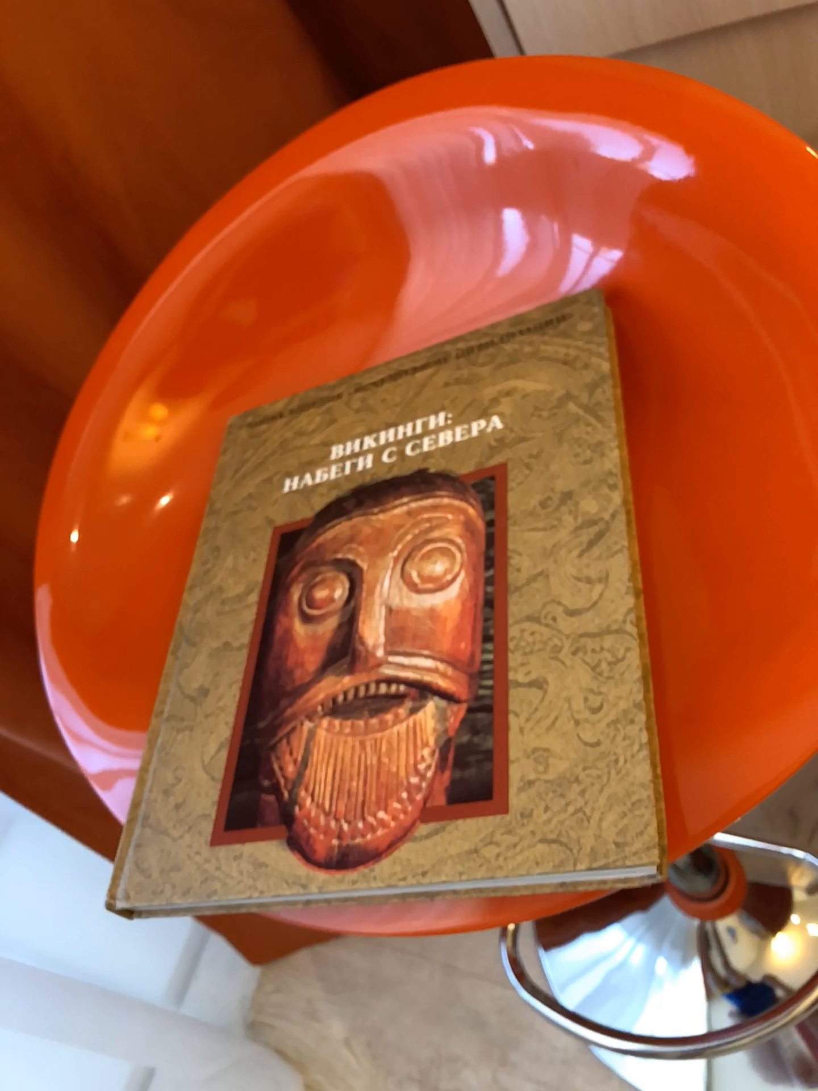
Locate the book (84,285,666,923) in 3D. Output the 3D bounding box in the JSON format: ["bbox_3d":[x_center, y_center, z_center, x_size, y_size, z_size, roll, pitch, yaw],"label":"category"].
[{"bbox_3d":[-0.013,0.016,0.386,0.216,0.022,0.261,-14,50,25],"label":"book"}]
